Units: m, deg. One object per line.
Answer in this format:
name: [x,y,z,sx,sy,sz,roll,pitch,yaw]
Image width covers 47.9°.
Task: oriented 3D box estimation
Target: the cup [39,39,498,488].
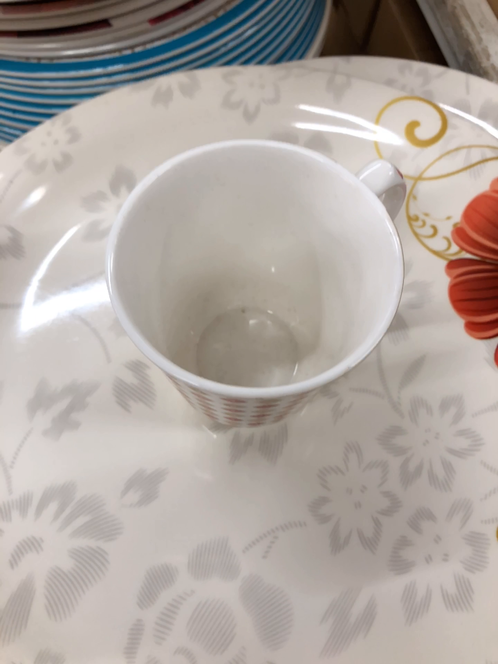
cup: [0.013,-0.019,0.192,0.120,0.080,0.080,-30,72,-14]
